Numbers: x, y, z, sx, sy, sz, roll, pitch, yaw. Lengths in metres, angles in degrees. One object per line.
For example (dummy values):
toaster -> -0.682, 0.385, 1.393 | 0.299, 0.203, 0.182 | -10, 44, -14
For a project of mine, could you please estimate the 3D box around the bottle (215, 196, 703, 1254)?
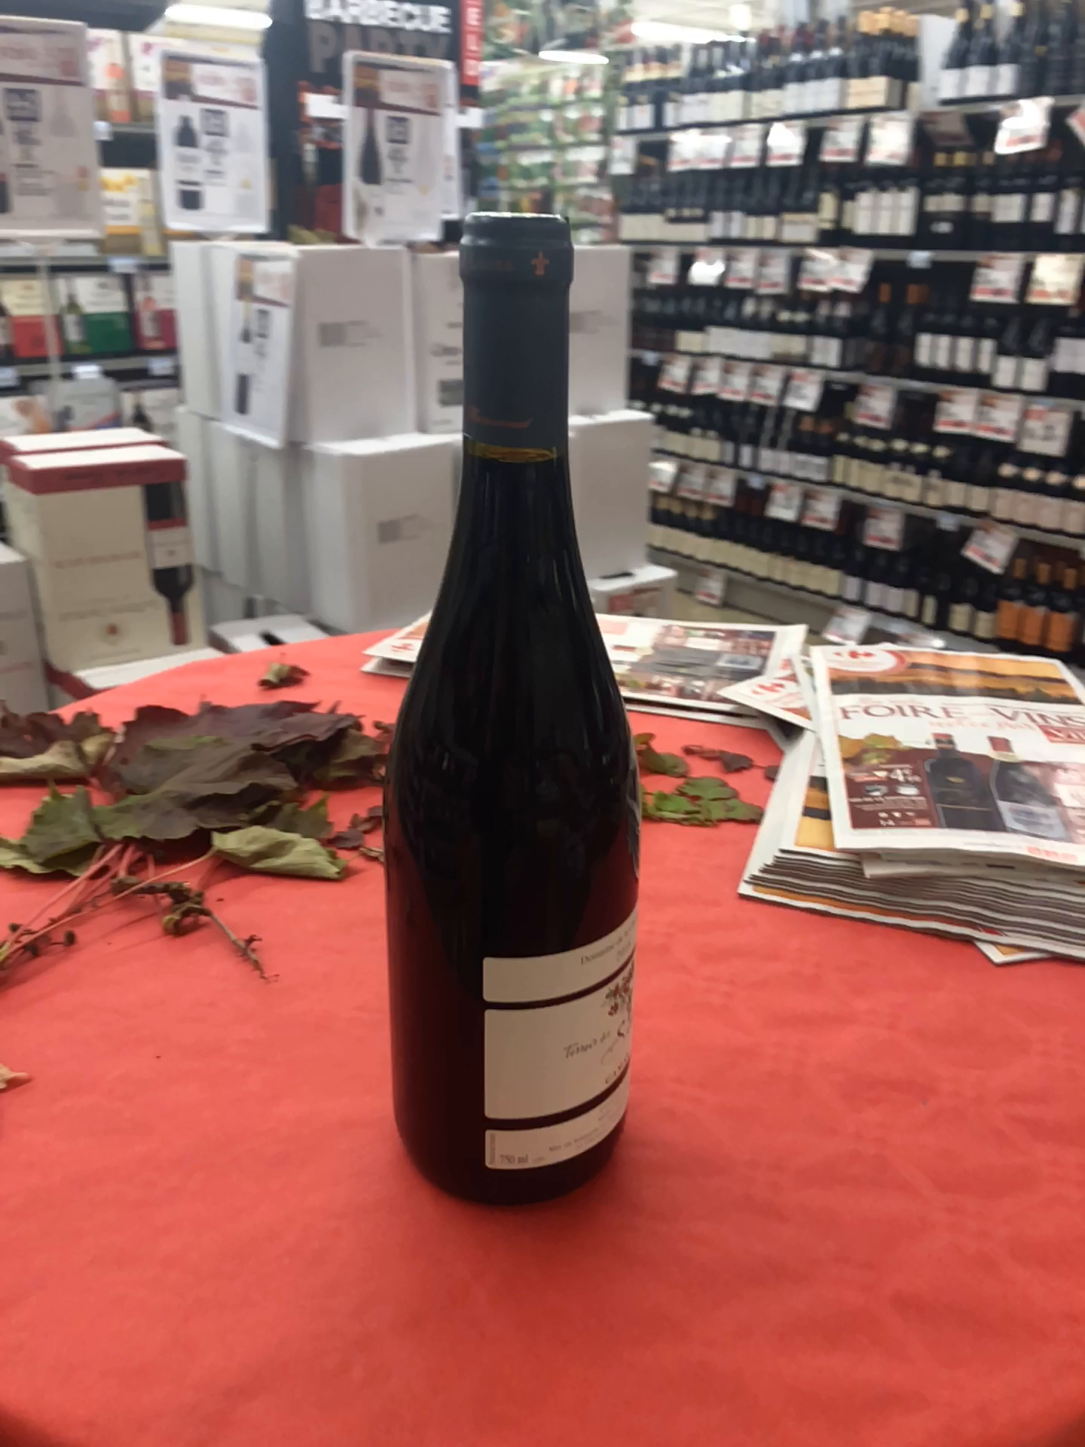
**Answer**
bottle -> -0.019, 0.000, 0.361 | 0.090, 0.289, 0.091 | 0, 21, 0
